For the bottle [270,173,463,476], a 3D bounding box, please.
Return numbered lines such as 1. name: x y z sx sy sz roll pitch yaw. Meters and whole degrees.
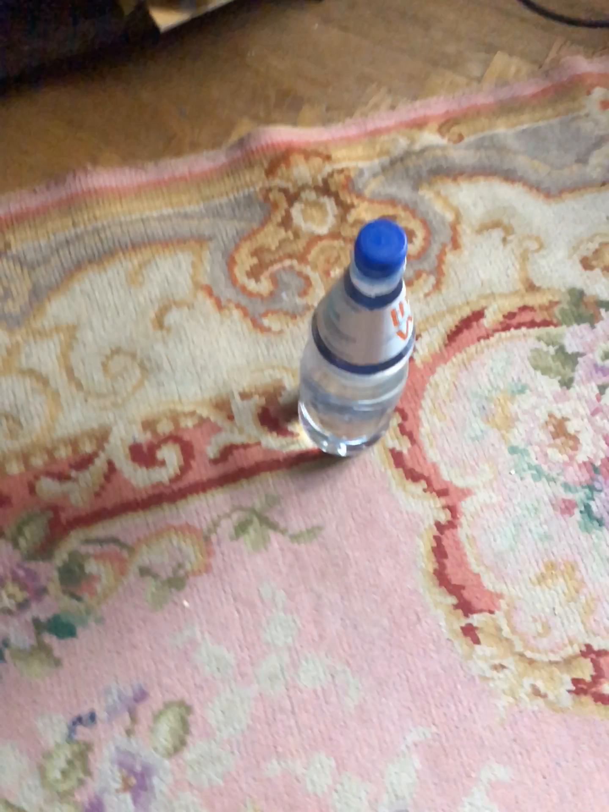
1. bottle: 0.036 -0.039 0.555 0.100 0.309 0.110 12 72 2
